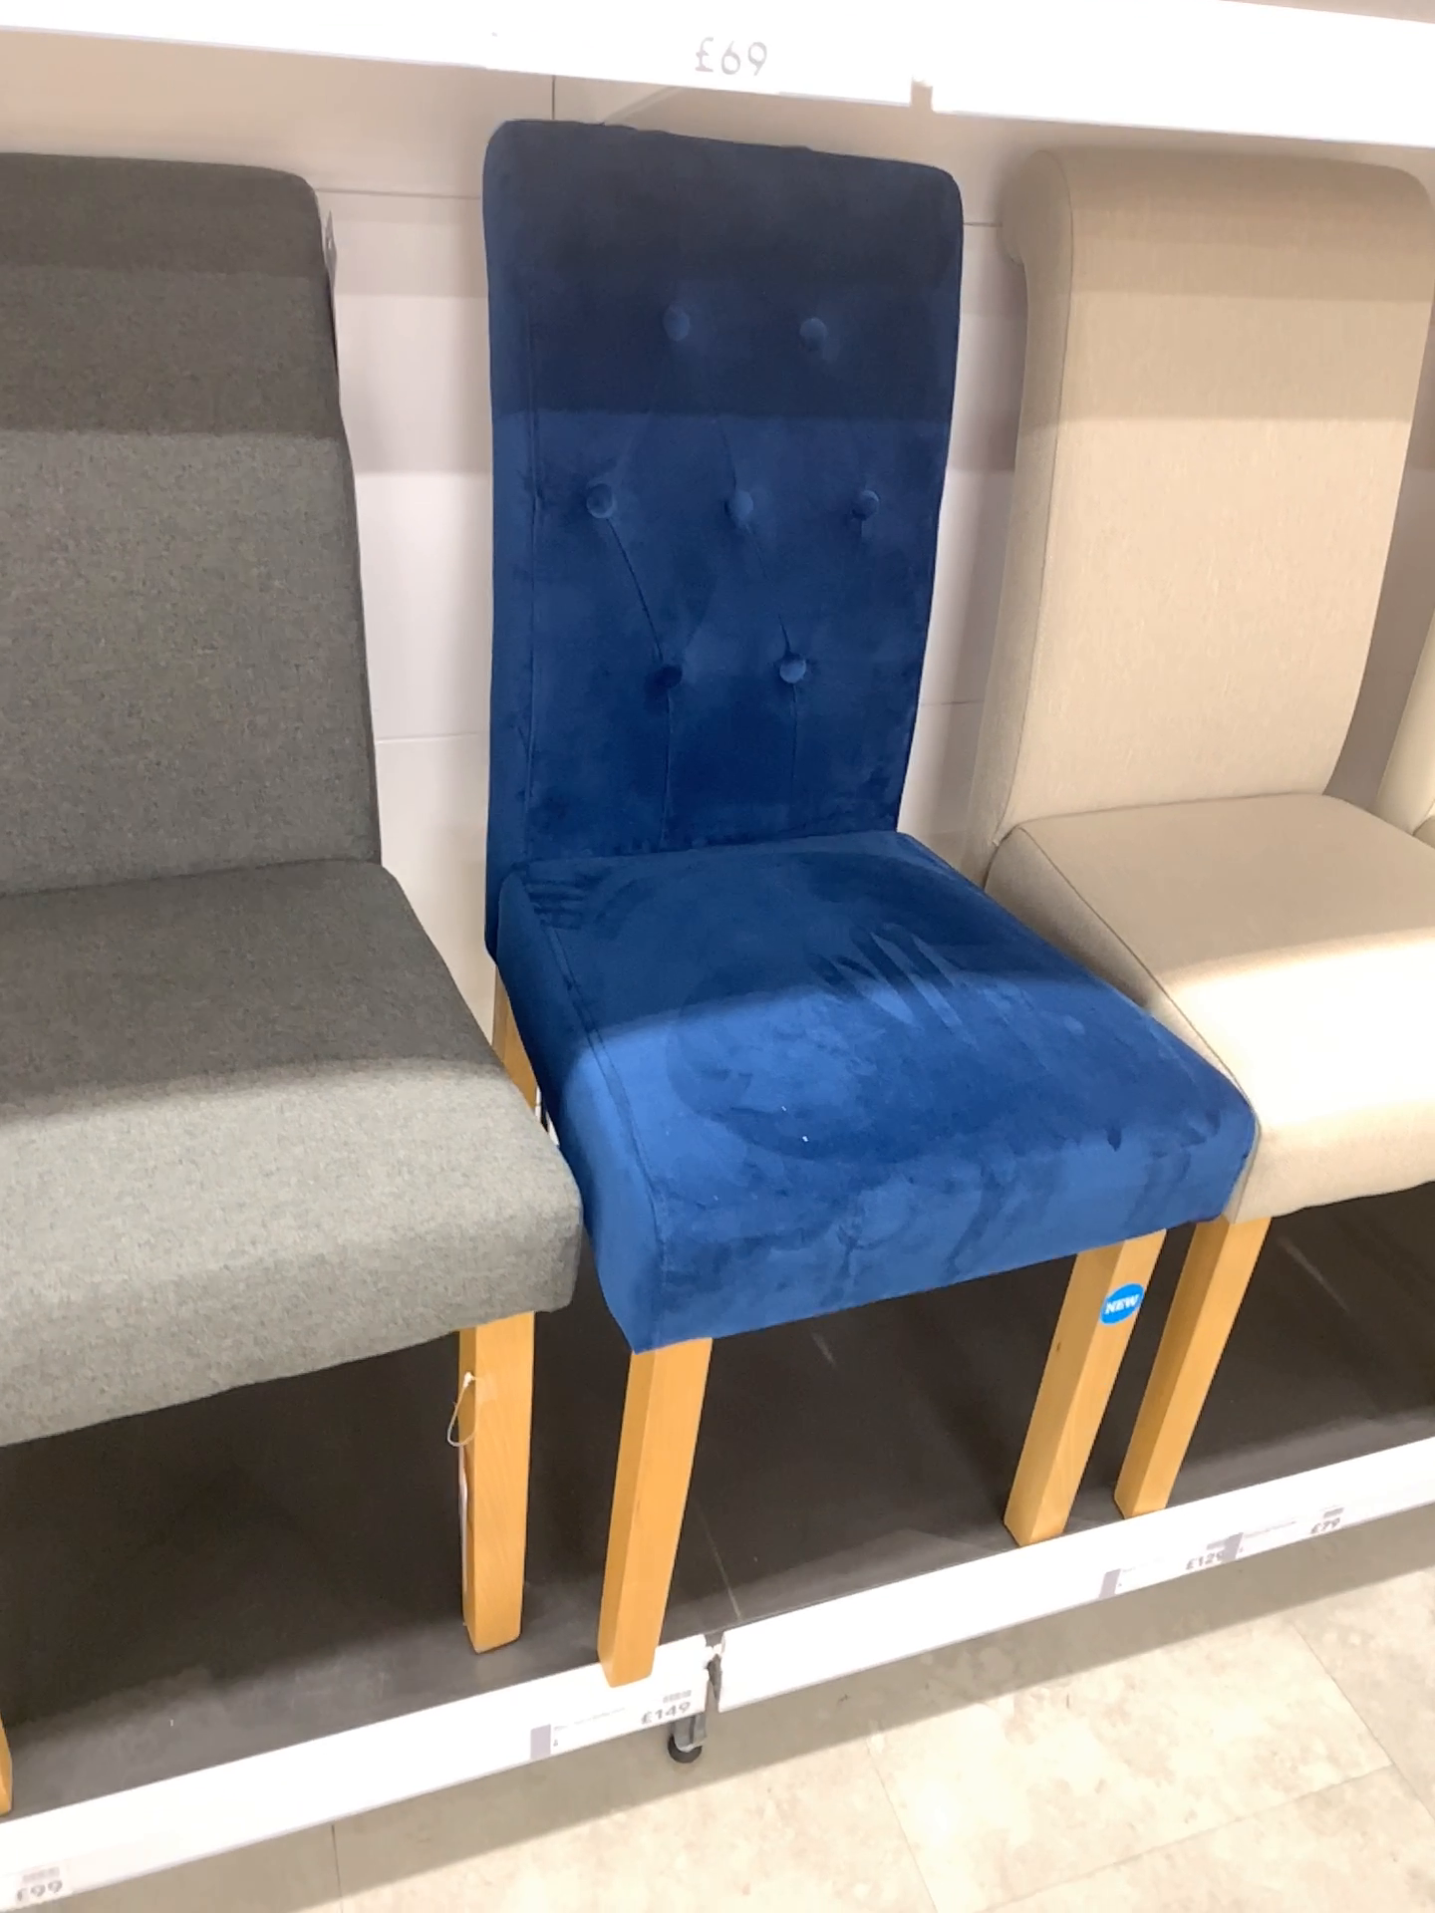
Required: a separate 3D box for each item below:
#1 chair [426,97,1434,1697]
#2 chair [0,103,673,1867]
[{"bbox_3d":[0.062,-0.040,1.053,0.433,0.929,0.523,-6,34,-21],"label":"chair"},{"bbox_3d":[-0.377,-0.016,0.977,0.413,0.890,0.624,-9,35,-24],"label":"chair"}]
